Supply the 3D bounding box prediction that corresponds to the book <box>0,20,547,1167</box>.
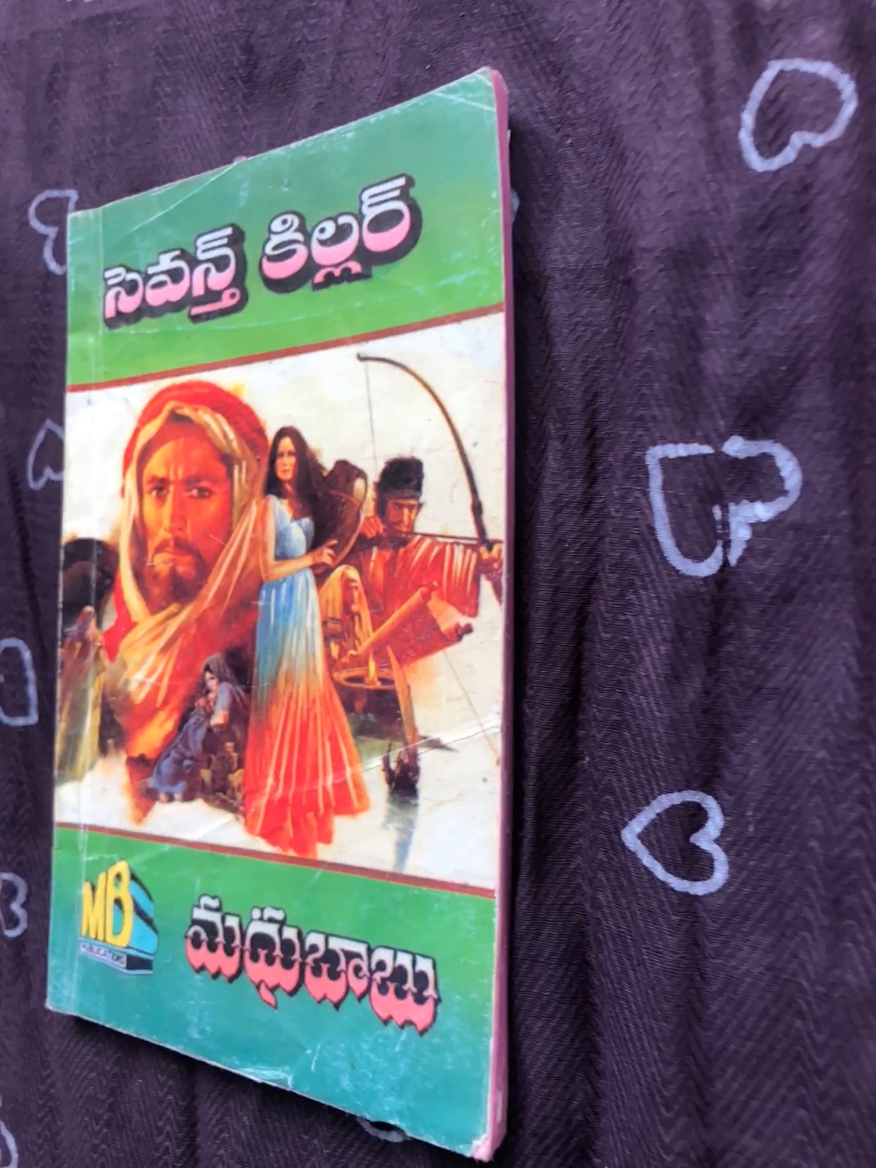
[{"bbox_3d":[-0.032,0.003,0.155,0.100,0.010,0.150,0,88,31],"label":"book"}]
